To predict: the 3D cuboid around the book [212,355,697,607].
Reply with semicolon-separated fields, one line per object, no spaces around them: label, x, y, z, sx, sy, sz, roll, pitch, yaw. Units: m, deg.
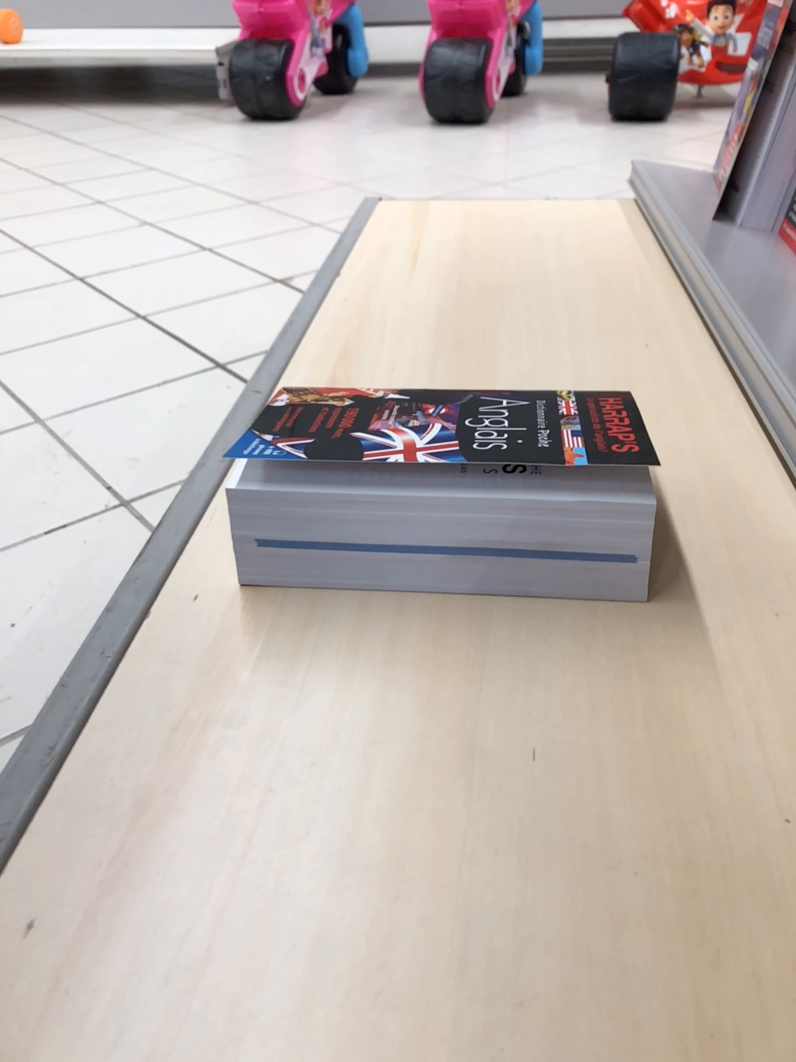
book;0.026;-0.029;0.391;0.181;0.057;0.116;2;33;7
